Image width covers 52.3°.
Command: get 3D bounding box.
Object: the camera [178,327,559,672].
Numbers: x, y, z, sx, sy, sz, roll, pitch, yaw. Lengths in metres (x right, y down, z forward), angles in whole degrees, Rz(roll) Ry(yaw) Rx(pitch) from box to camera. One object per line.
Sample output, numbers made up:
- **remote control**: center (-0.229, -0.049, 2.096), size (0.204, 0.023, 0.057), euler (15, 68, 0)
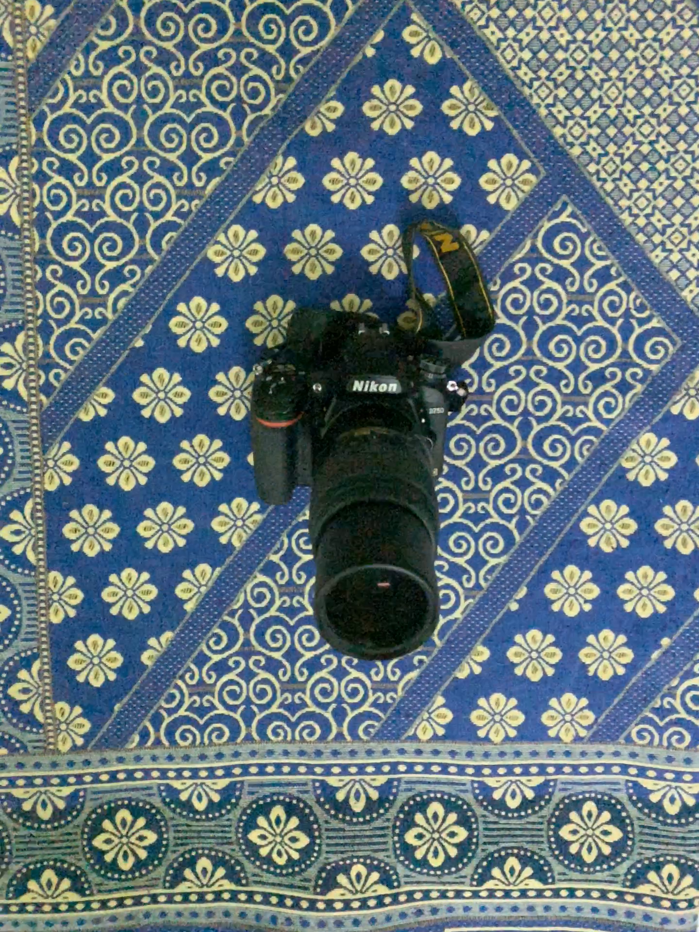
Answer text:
- **camera**: center (0.006, 0.004, 0.411), size (0.160, 0.191, 0.130), euler (1, 111, -1)
